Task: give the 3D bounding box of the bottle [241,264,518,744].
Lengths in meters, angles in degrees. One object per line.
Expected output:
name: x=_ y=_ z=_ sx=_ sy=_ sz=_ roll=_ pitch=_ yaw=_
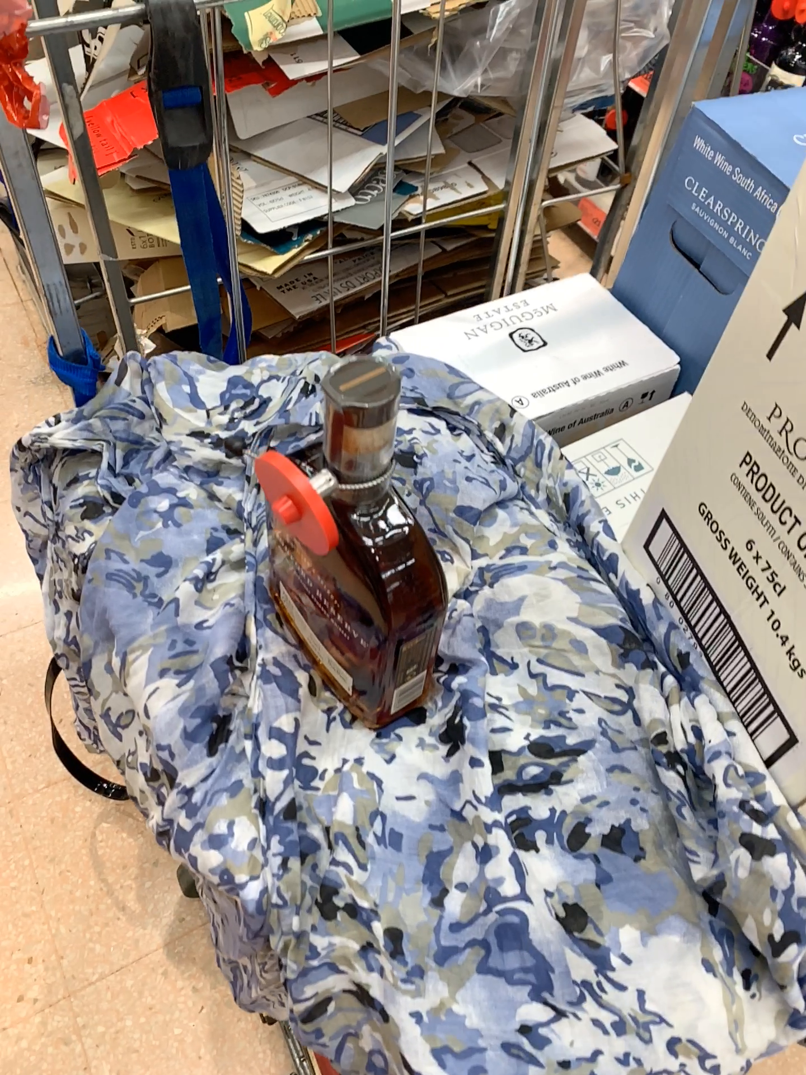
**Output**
bottle: x=-0.026 y=-0.005 z=0.434 sx=0.051 sy=0.222 sz=0.134 roll=-26 pitch=60 yaw=-26
